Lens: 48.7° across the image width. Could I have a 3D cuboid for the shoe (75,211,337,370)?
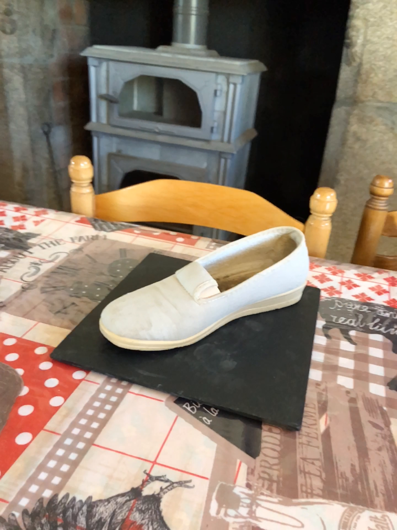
[{"bbox_3d":[0.011,0.012,0.461,0.251,0.080,0.100,-11,31,-29],"label":"shoe"}]
